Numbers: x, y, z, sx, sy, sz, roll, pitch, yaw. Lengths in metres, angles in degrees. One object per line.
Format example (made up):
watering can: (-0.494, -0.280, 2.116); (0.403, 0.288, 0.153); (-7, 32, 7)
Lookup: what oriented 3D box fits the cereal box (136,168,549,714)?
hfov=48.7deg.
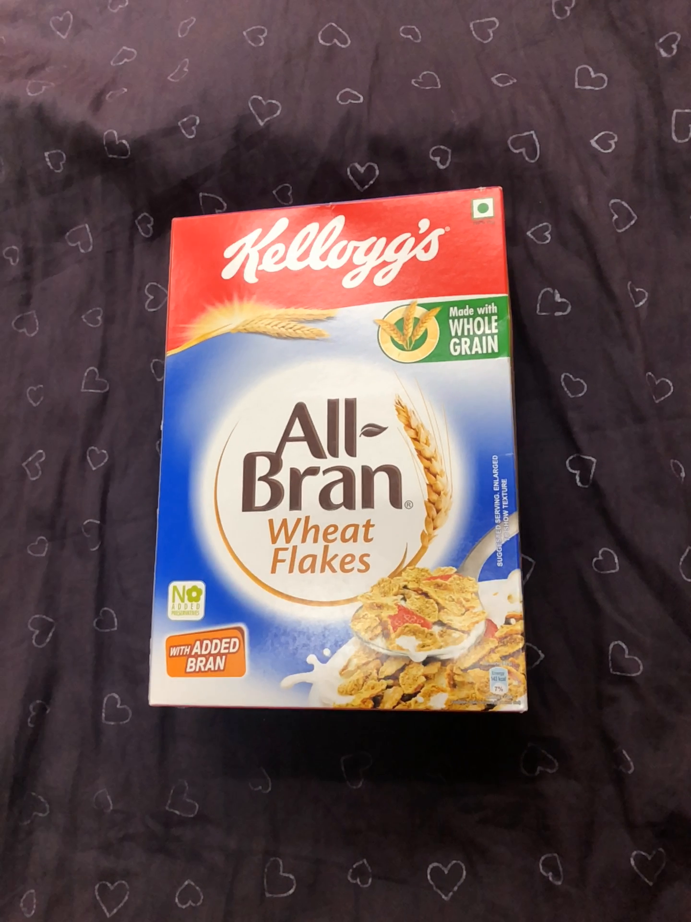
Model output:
cereal box: (0.000, -0.009, 0.406); (0.190, 0.070, 0.260); (-2, 78, 10)
